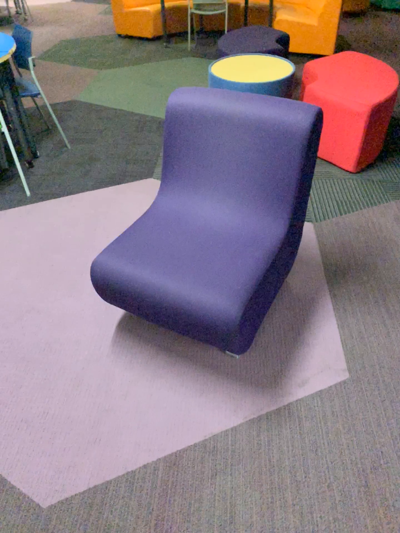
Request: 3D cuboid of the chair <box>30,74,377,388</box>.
[{"bbox_3d":[0.073,-0.216,1.479,0.802,0.614,0.826,18,45,22],"label":"chair"}]
